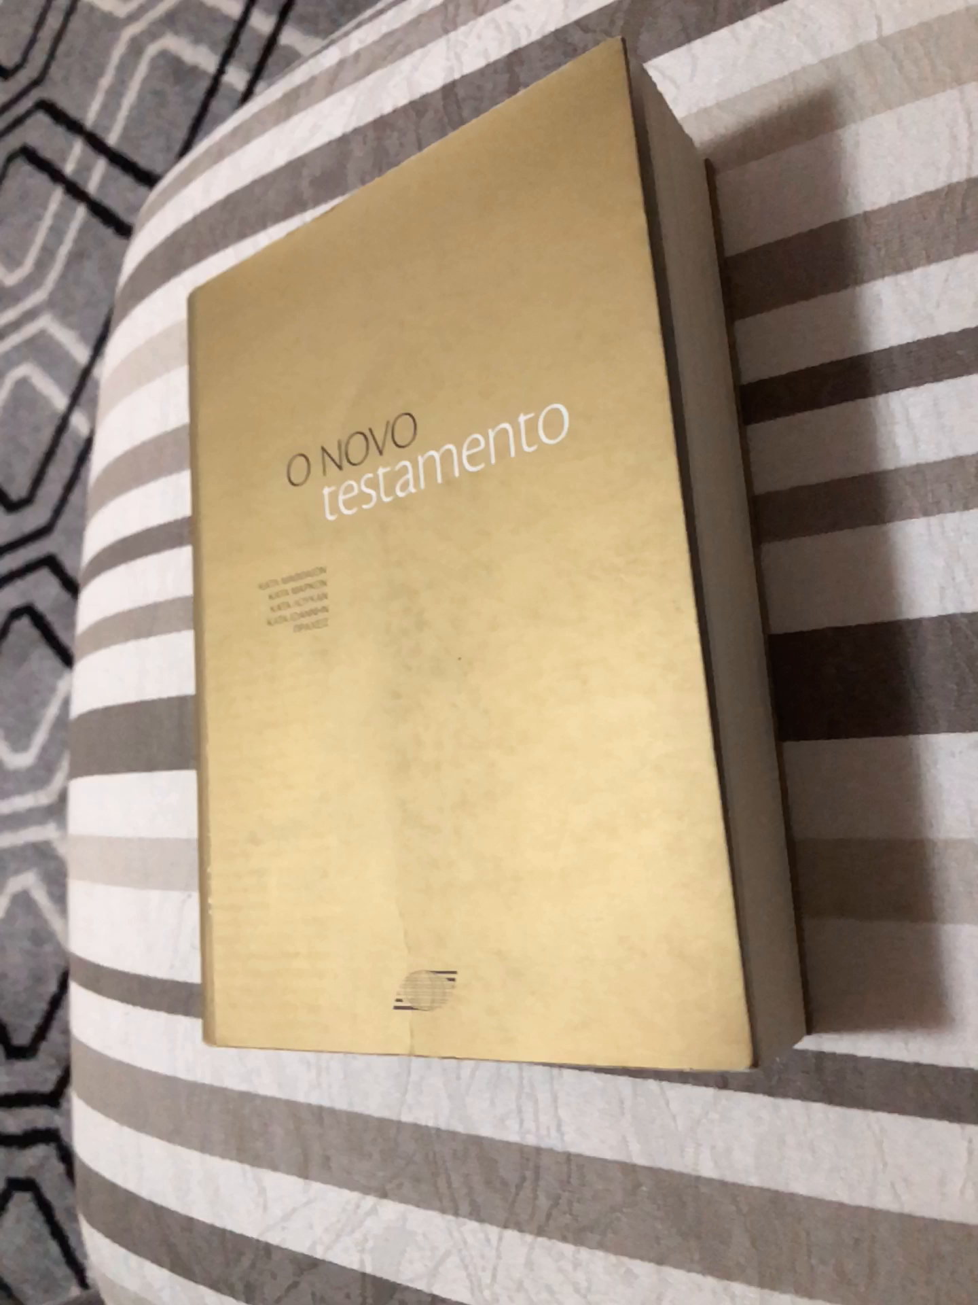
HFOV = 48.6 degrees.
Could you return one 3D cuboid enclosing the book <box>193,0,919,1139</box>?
[{"bbox_3d":[0.001,-0.016,0.268,0.161,0.050,0.230,-11,76,33],"label":"book"}]
